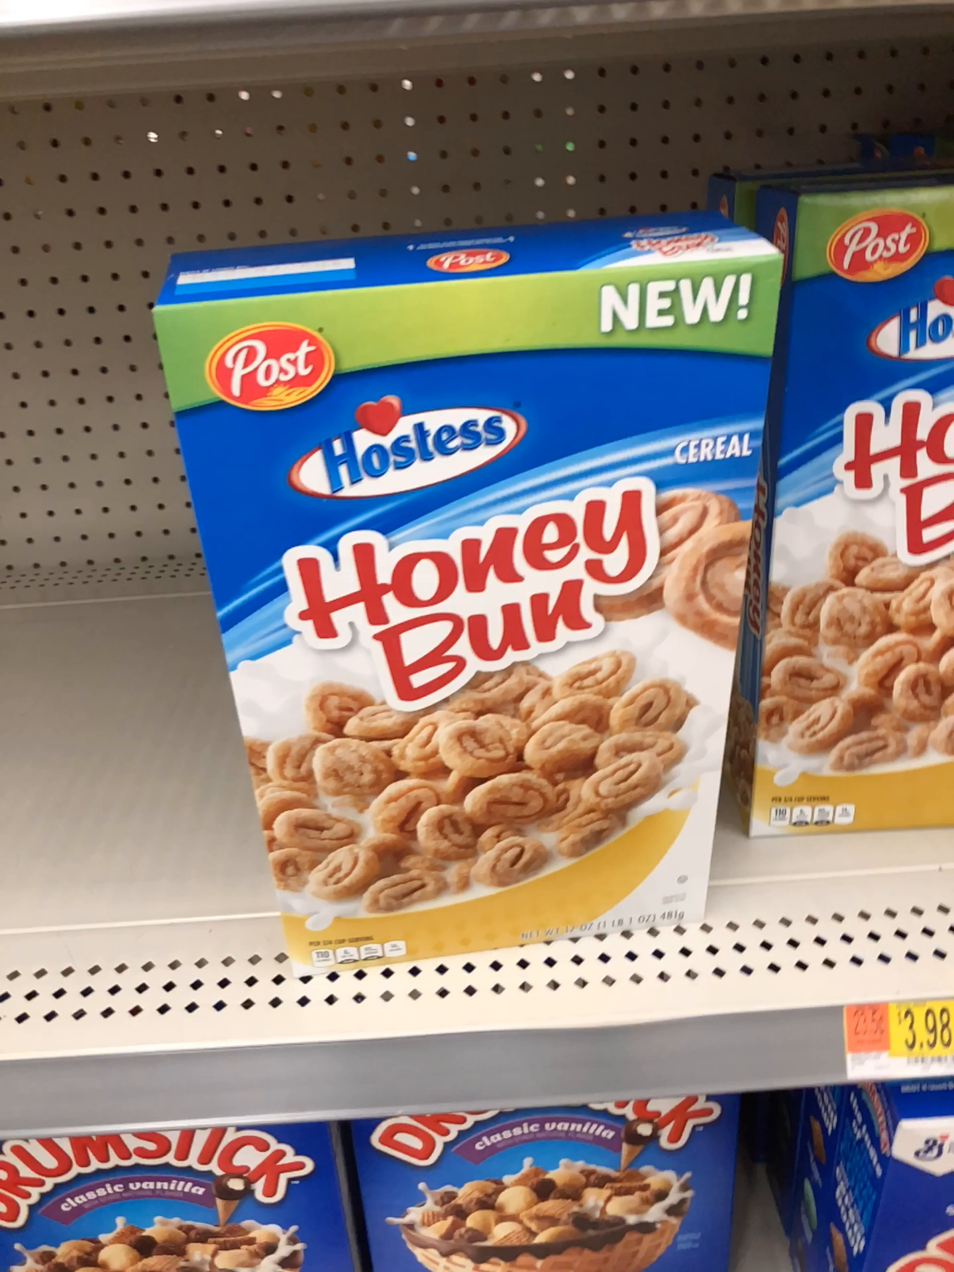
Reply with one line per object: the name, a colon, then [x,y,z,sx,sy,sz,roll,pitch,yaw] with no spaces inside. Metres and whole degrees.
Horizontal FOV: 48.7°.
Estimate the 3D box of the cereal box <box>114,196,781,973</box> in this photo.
cereal box: [-0.003,-0.003,0.426,0.200,0.299,0.070,-7,34,-4]
